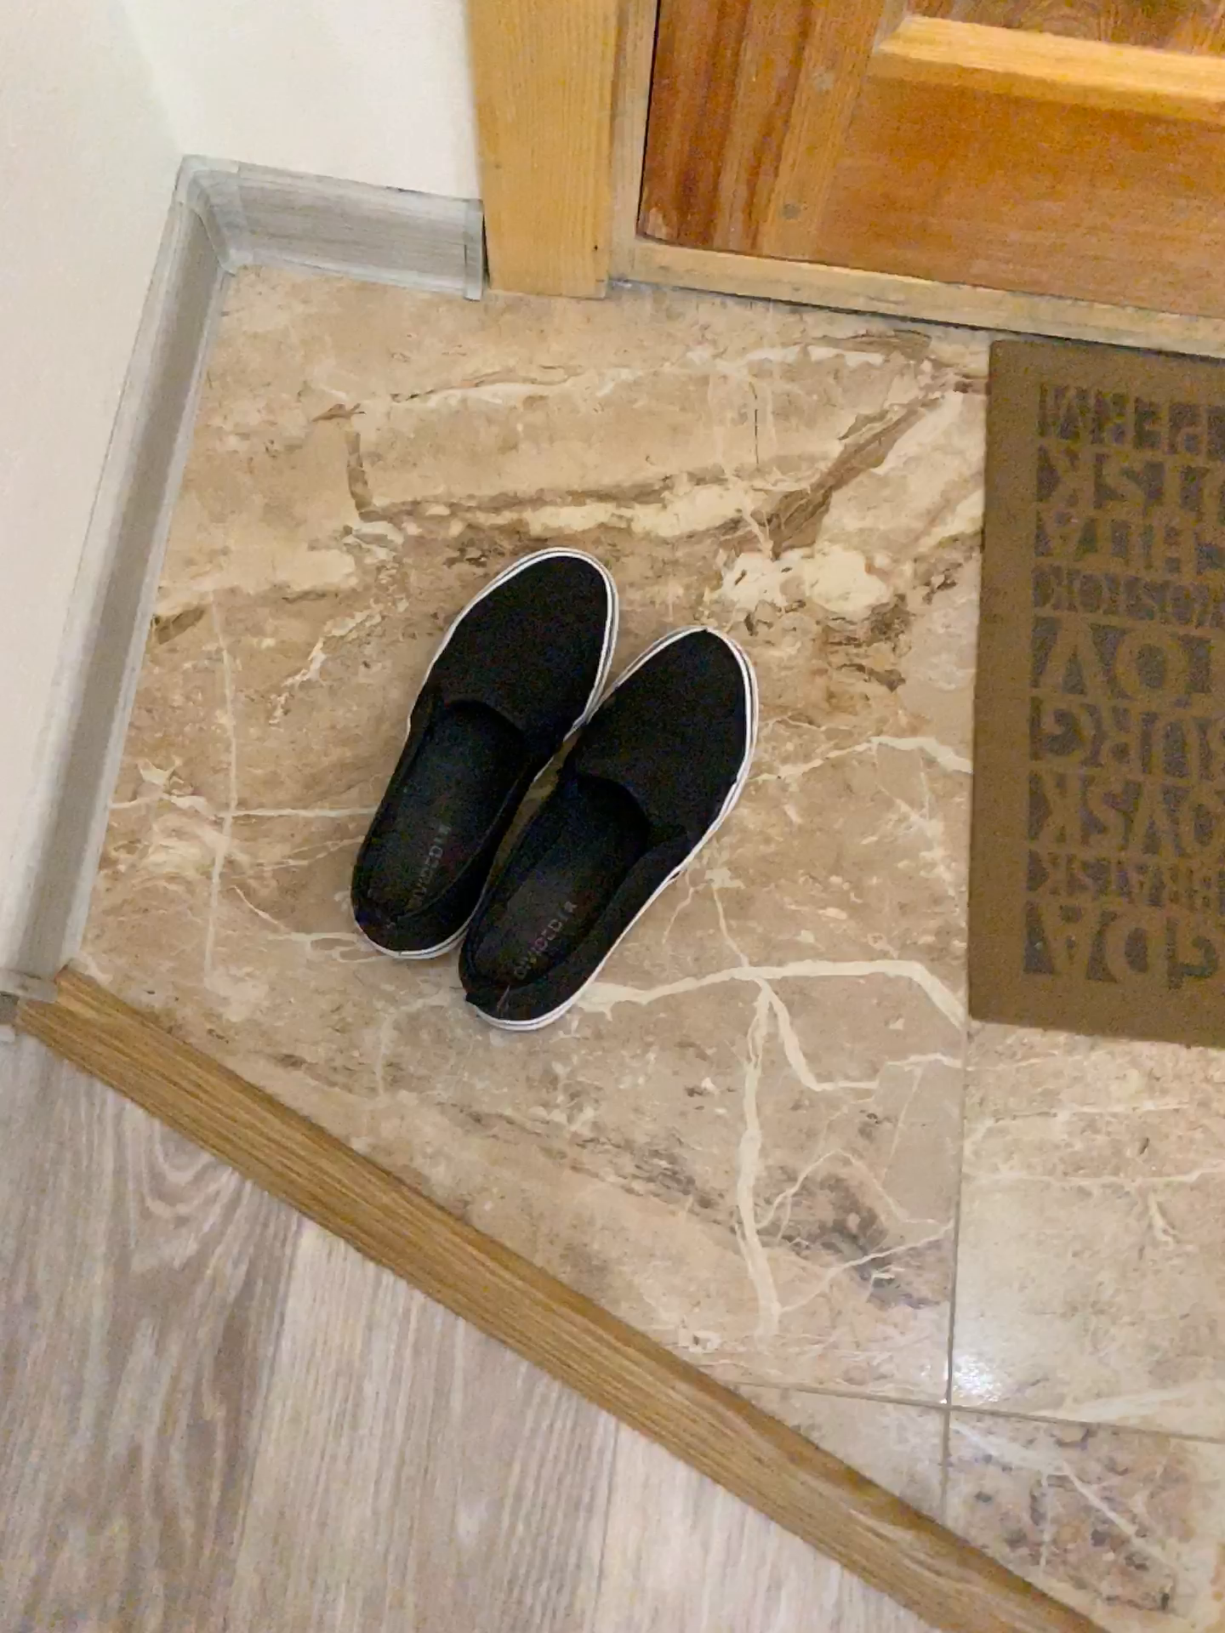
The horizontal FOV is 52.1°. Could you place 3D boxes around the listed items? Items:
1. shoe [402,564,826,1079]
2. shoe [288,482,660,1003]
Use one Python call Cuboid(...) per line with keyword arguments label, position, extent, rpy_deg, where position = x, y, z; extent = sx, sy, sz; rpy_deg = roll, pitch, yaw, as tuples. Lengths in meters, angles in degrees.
Cuboid(label="shoe", position=(0.004, 0.001, 0.645), extent=(0.090, 0.060, 0.250), rpy_deg=(32, 76, 6))
Cuboid(label="shoe", position=(-0.066, -0.040, 0.651), extent=(0.090, 0.060, 0.250), rpy_deg=(22, 75, 3))
